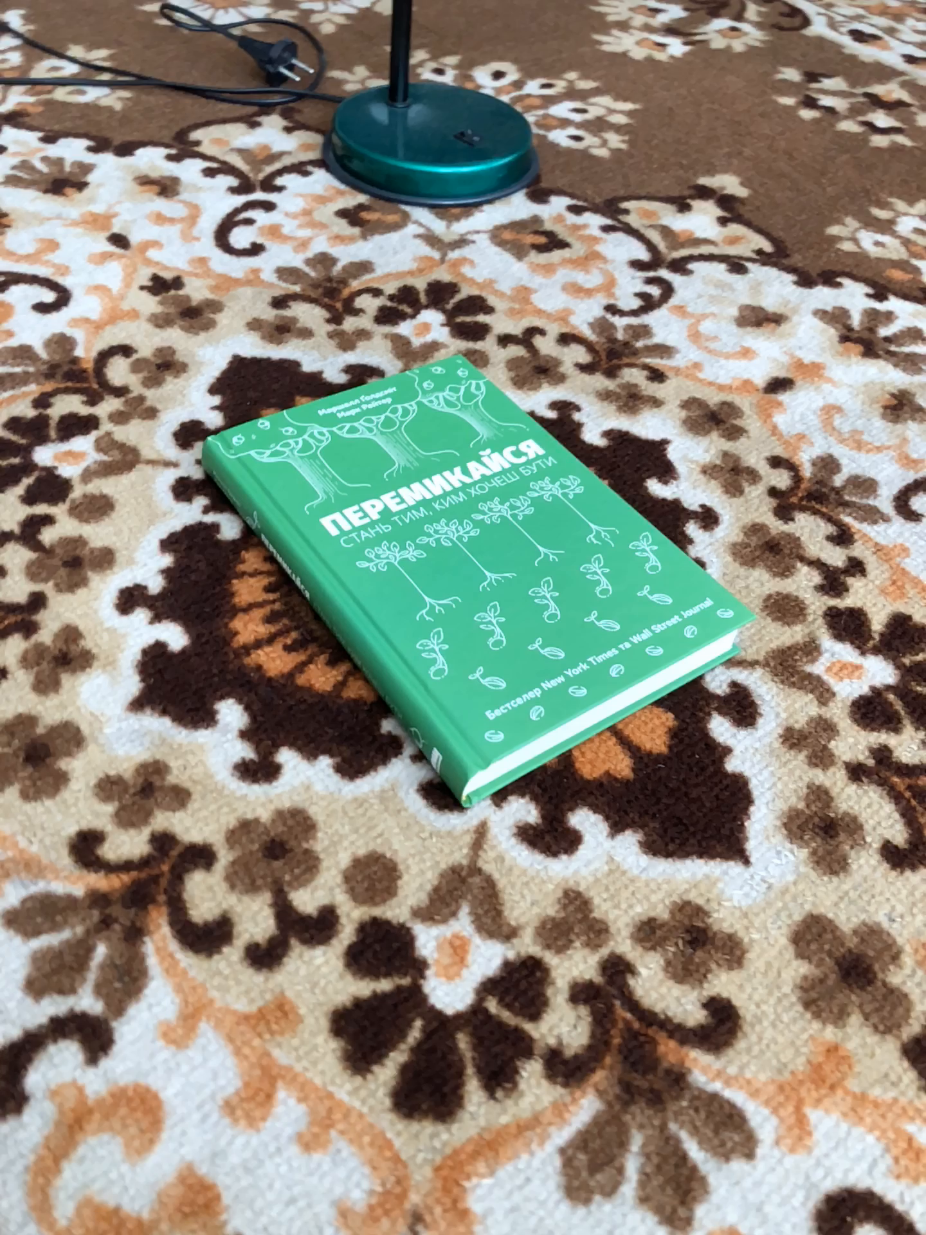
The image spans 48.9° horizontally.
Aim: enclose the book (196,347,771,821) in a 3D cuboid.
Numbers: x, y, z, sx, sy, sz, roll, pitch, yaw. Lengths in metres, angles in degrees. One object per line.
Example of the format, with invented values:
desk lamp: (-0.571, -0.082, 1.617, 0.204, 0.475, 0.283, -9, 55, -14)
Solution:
book: (0.001, -0.031, 0.413, 0.138, 0.023, 0.203, -25, 55, -26)
